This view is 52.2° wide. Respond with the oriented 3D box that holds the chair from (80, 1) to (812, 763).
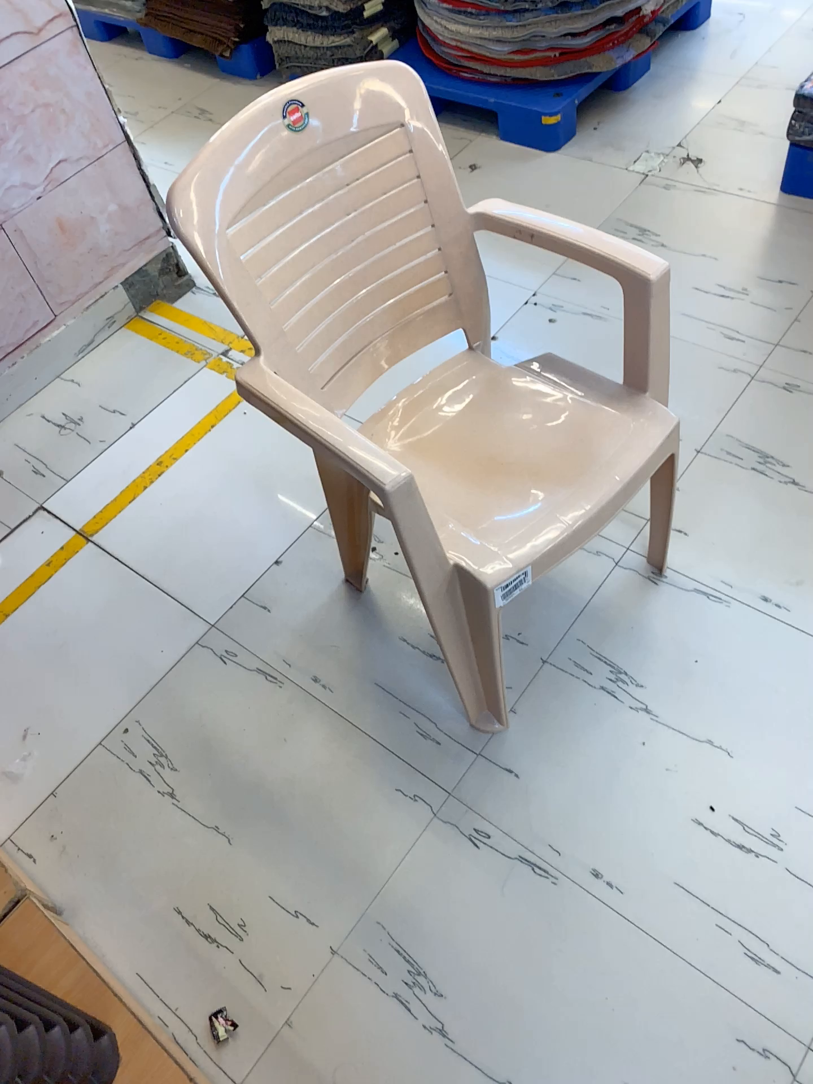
[{"bbox_3d":[0.076,-0.219,1.255,0.571,0.774,0.623,-41,57,-19],"label":"chair"}]
